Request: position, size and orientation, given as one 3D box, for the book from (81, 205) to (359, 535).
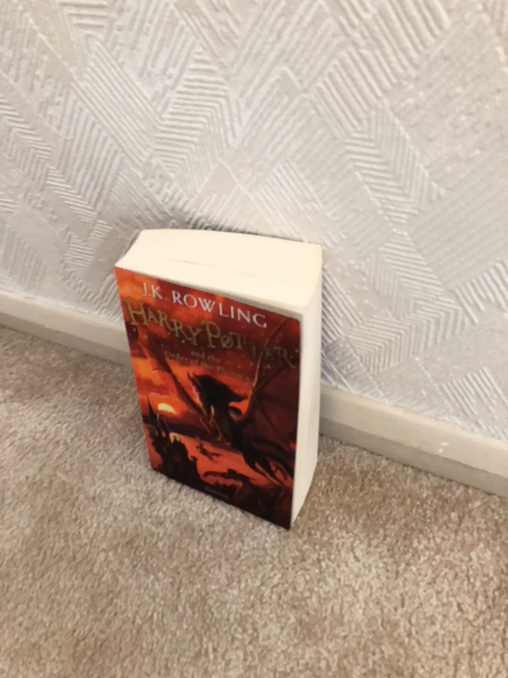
[{"bbox_3d":[-0.018,0.023,0.409,0.147,0.189,0.092,17,42,22],"label":"book"}]
